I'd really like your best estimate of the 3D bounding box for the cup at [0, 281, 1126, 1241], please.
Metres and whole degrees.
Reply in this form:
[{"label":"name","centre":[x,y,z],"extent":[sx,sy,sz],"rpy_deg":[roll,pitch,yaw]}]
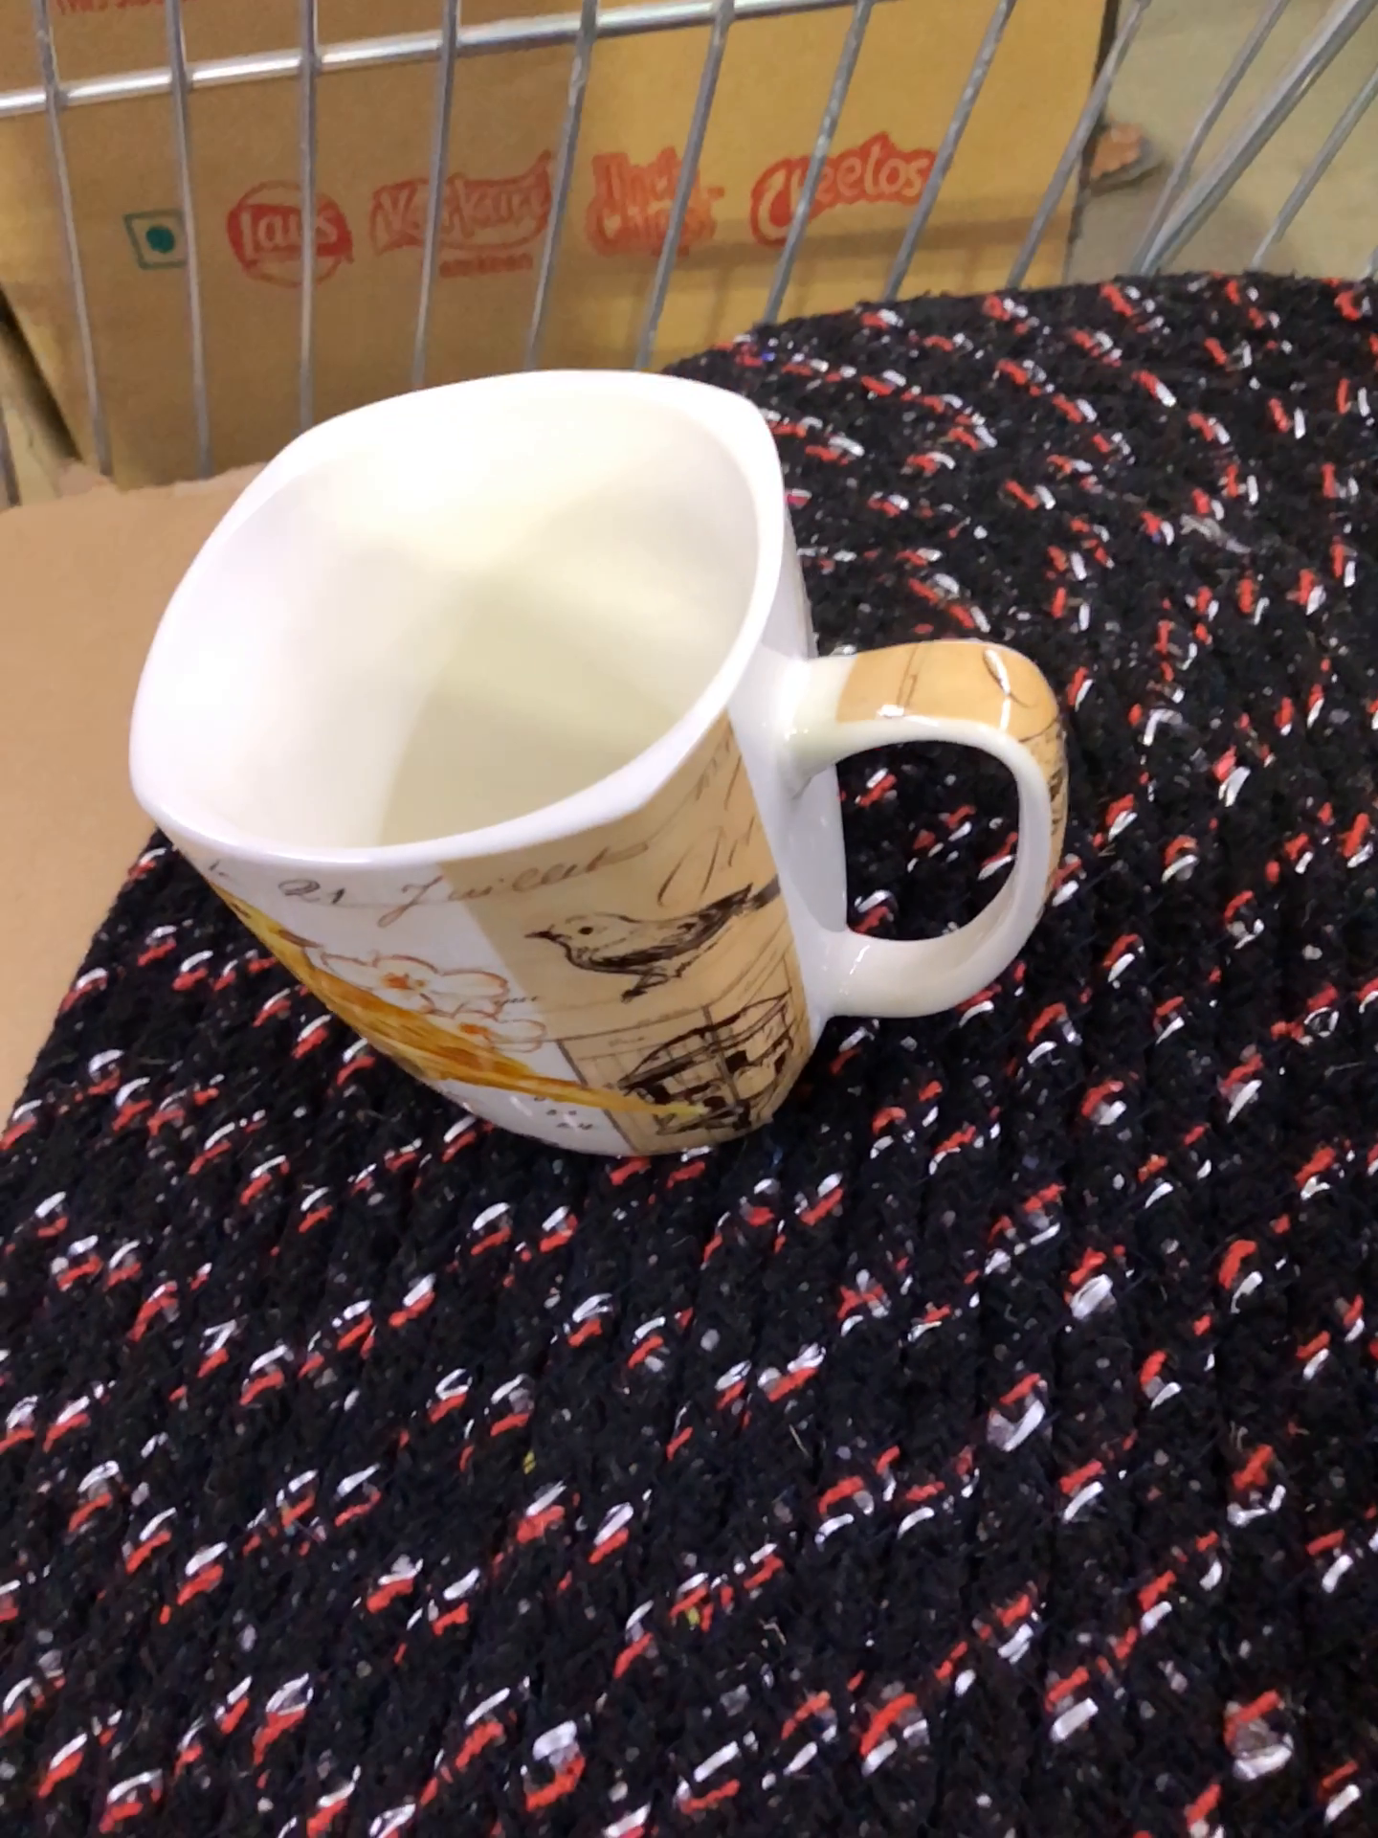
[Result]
[{"label":"cup","centre":[-0.006,-0.019,0.215],"extent":[0.120,0.080,0.090],"rpy_deg":[1,54,20]}]
